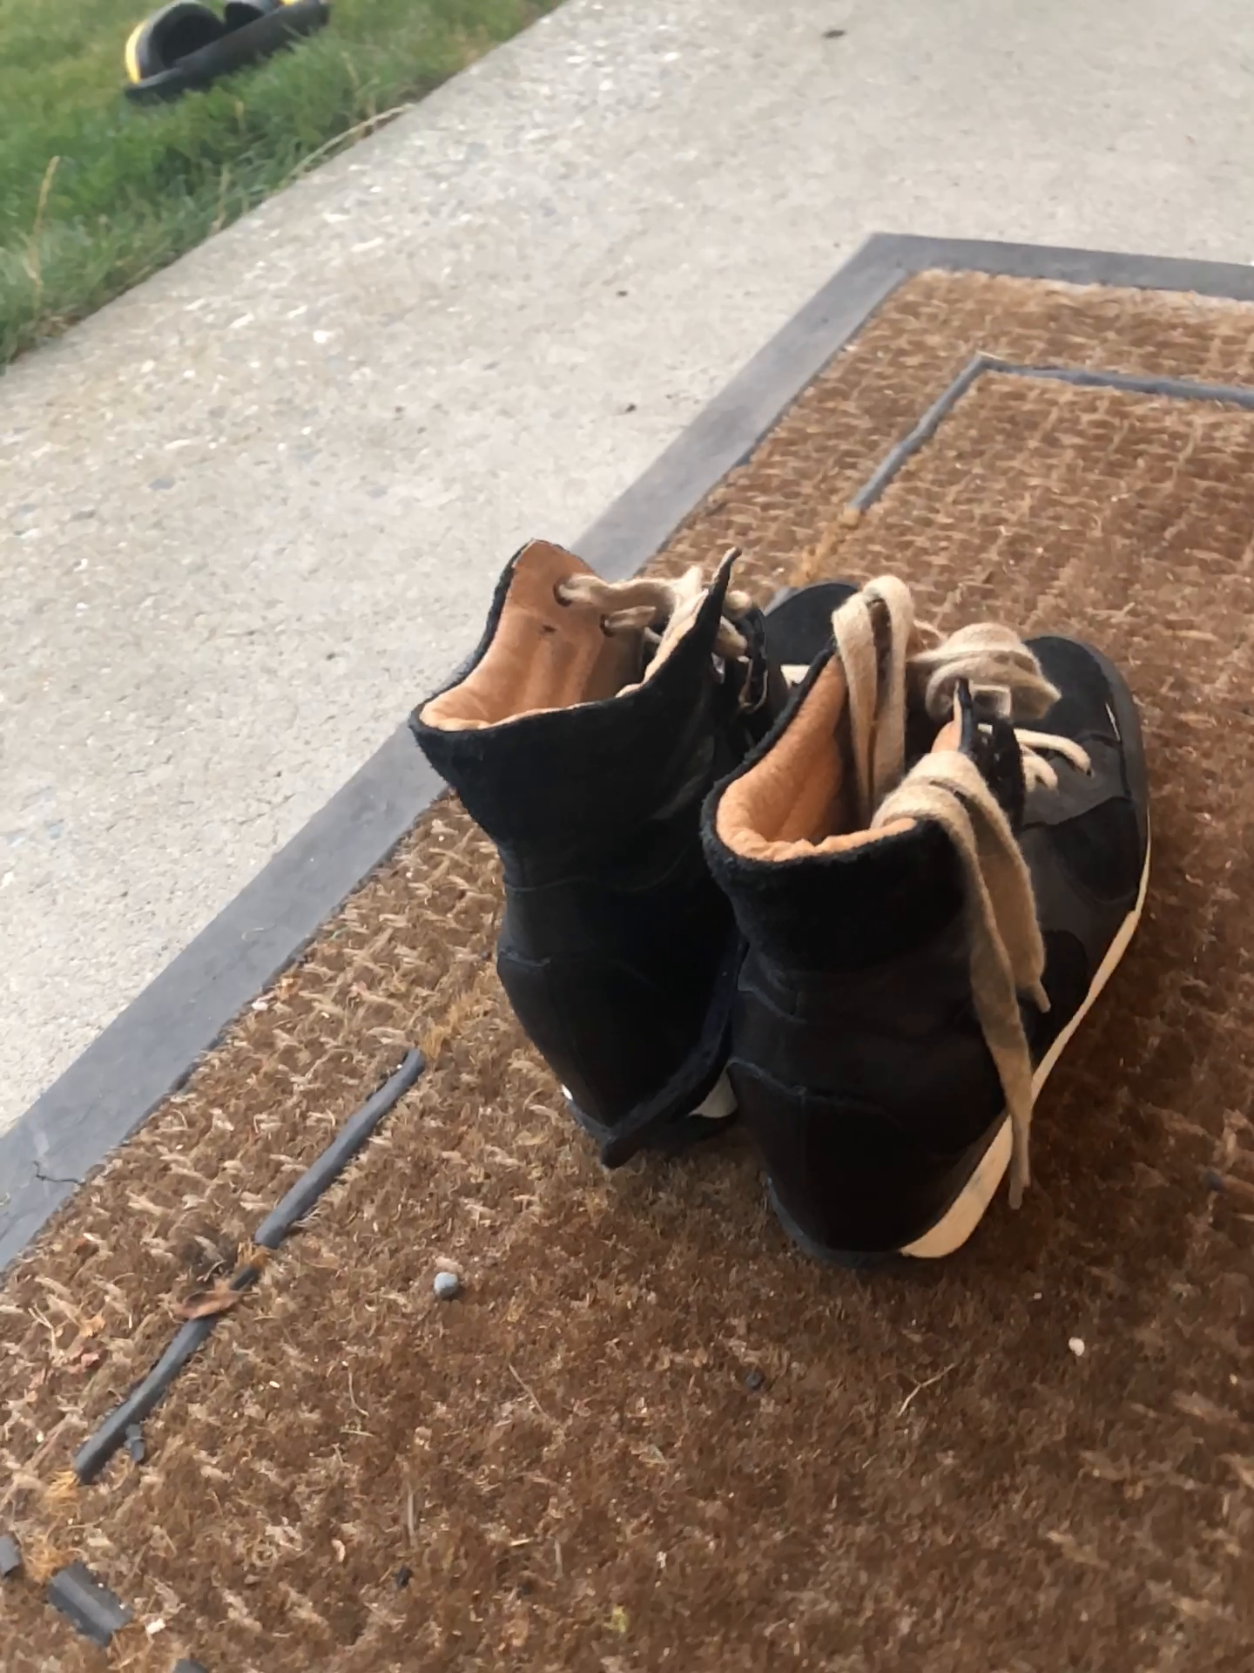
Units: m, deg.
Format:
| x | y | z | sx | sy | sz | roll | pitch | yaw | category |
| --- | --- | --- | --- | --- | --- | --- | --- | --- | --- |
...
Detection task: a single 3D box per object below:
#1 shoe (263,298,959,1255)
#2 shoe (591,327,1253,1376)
| x | y | z | sx | sy | sz | roll | pitch | yaw | category |
| --- | --- | --- | --- | --- | --- | --- | --- | --- | --- |
| 0.022 | -0.028 | 0.425 | 0.090 | 0.159 | 0.241 | 13 | 52 | 25 | shoe |
| 0.096 | -0.006 | 0.383 | 0.090 | 0.159 | 0.231 | 13 | 52 | 25 | shoe |
